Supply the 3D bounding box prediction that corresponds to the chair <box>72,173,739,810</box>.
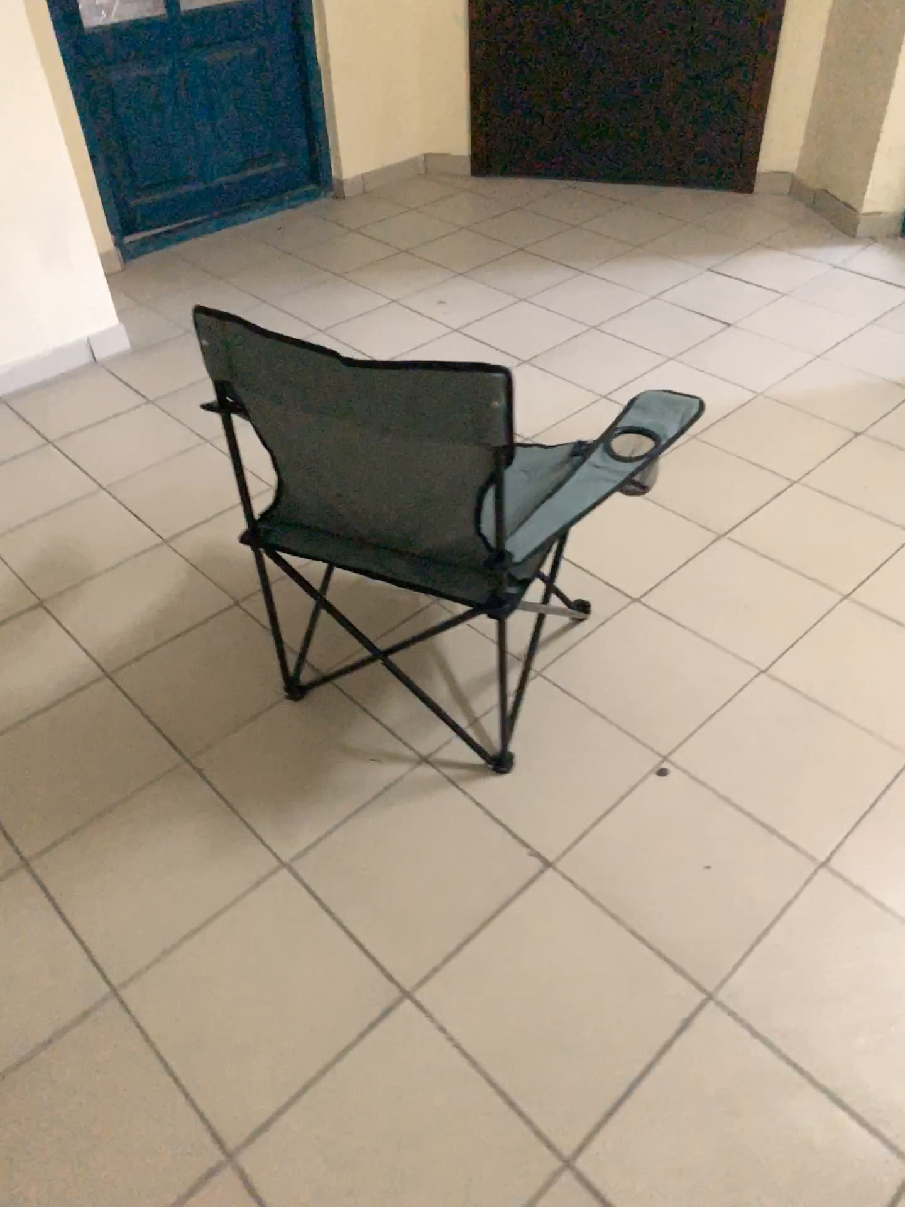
[{"bbox_3d":[-0.033,-0.216,1.579,0.801,0.756,0.562,15,45,19],"label":"chair"}]
